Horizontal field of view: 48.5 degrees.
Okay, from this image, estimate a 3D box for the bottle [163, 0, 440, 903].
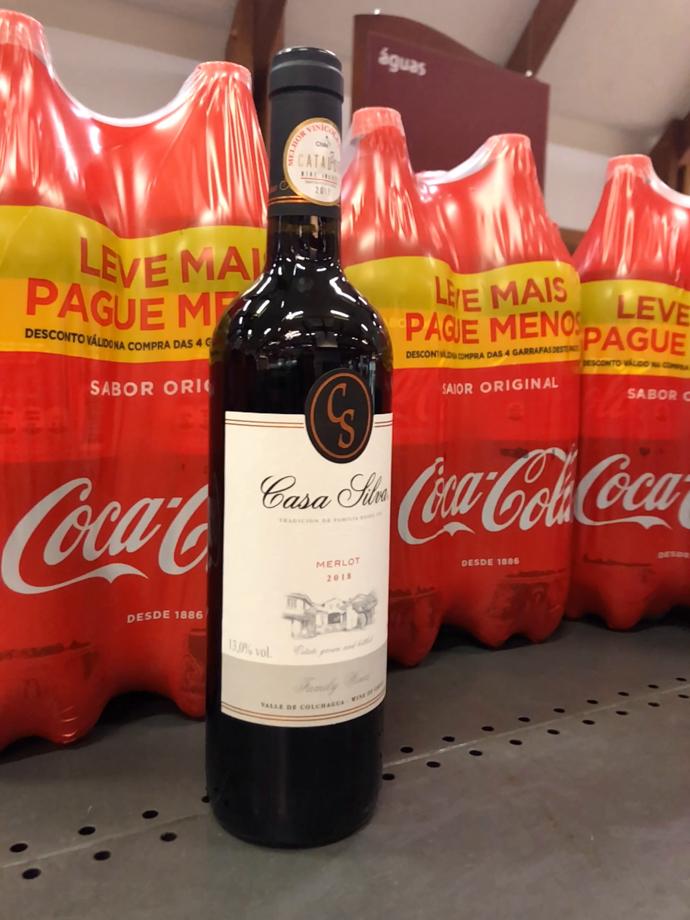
[{"bbox_3d":[-0.022,-0.004,0.305,0.080,0.309,0.070,-1,6,-29],"label":"bottle"}]
